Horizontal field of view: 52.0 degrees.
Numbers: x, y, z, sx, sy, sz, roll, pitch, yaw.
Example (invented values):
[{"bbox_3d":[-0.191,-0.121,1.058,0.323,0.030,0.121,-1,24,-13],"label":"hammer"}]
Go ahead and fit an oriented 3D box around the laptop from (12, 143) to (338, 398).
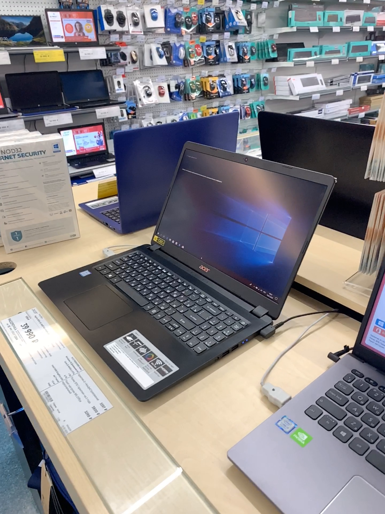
[{"bbox_3d":[-0.036,-0.034,0.698,0.376,0.216,0.377,-22,34,-34],"label":"laptop"}]
